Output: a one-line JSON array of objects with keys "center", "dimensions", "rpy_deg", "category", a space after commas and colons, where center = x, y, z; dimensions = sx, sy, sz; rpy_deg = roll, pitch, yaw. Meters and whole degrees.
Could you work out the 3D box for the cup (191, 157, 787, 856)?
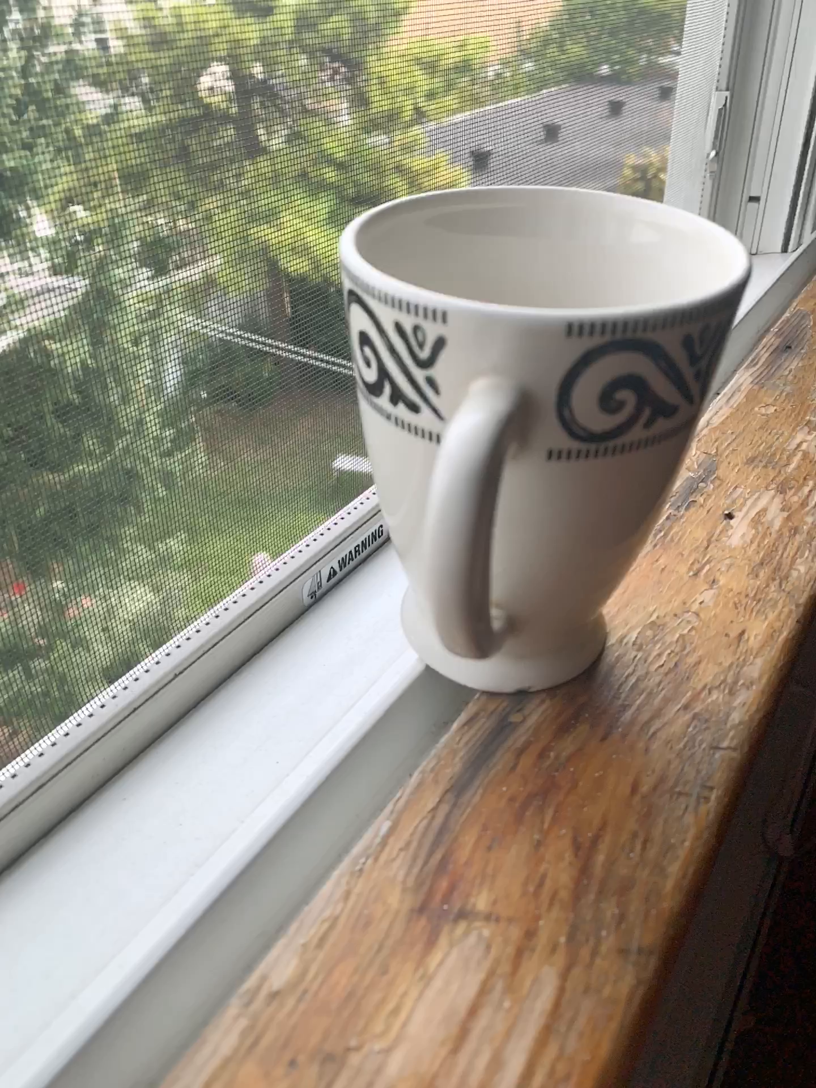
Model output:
[{"center": [0.025, -0.023, 0.188], "dimensions": [0.080, 0.089, 0.131], "rpy_deg": [10, 36, 13], "category": "cup"}]
